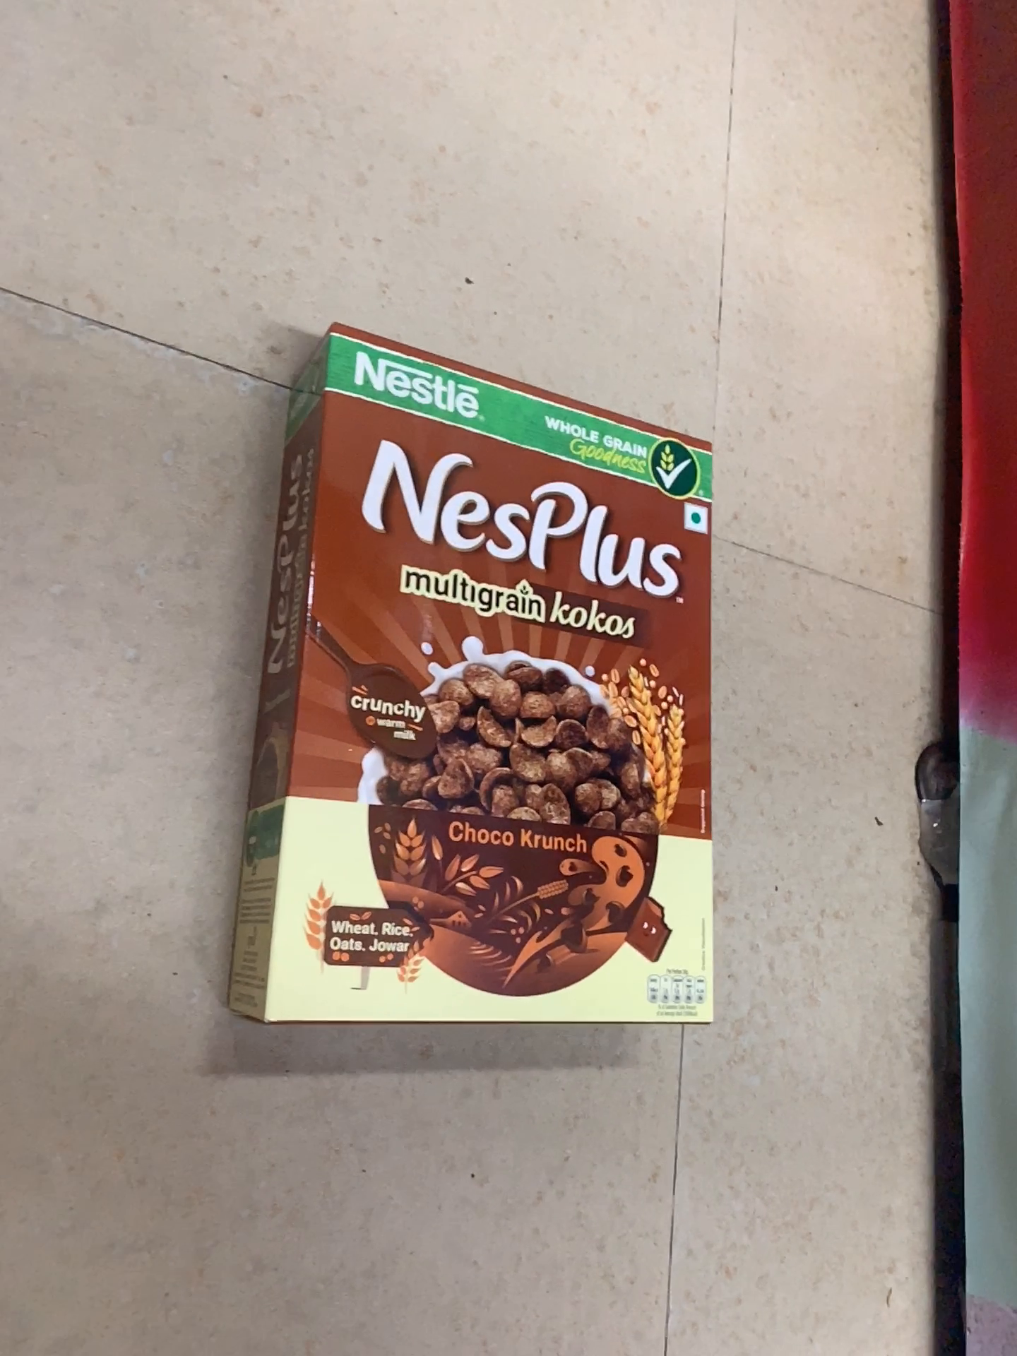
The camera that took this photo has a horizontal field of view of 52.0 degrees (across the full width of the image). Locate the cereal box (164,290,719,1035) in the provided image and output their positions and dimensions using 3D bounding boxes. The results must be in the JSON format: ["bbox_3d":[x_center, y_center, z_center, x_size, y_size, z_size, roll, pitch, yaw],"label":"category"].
[{"bbox_3d":[-0.019,0.007,0.467,0.210,0.090,0.280,11,75,-27],"label":"cereal box"}]
